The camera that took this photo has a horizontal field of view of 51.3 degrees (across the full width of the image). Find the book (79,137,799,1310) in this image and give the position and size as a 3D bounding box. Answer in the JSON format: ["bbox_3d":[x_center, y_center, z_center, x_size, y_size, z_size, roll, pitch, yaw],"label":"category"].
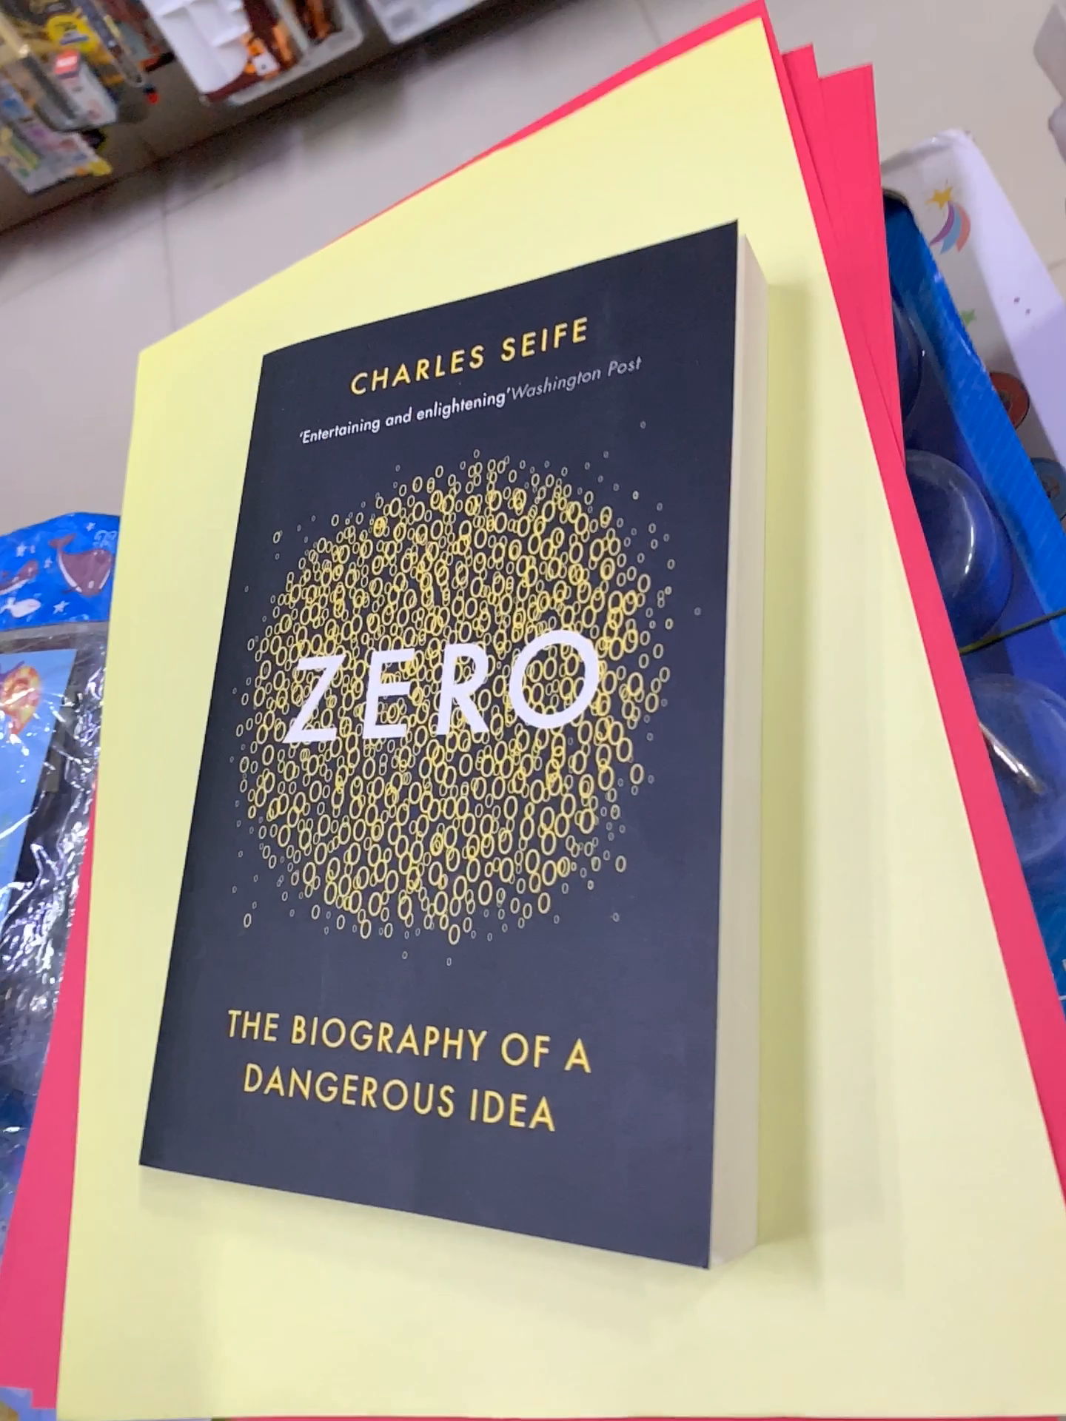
[{"bbox_3d":[-0.015,-0.003,0.230,0.130,0.040,0.200,-4,73,27],"label":"book"}]
